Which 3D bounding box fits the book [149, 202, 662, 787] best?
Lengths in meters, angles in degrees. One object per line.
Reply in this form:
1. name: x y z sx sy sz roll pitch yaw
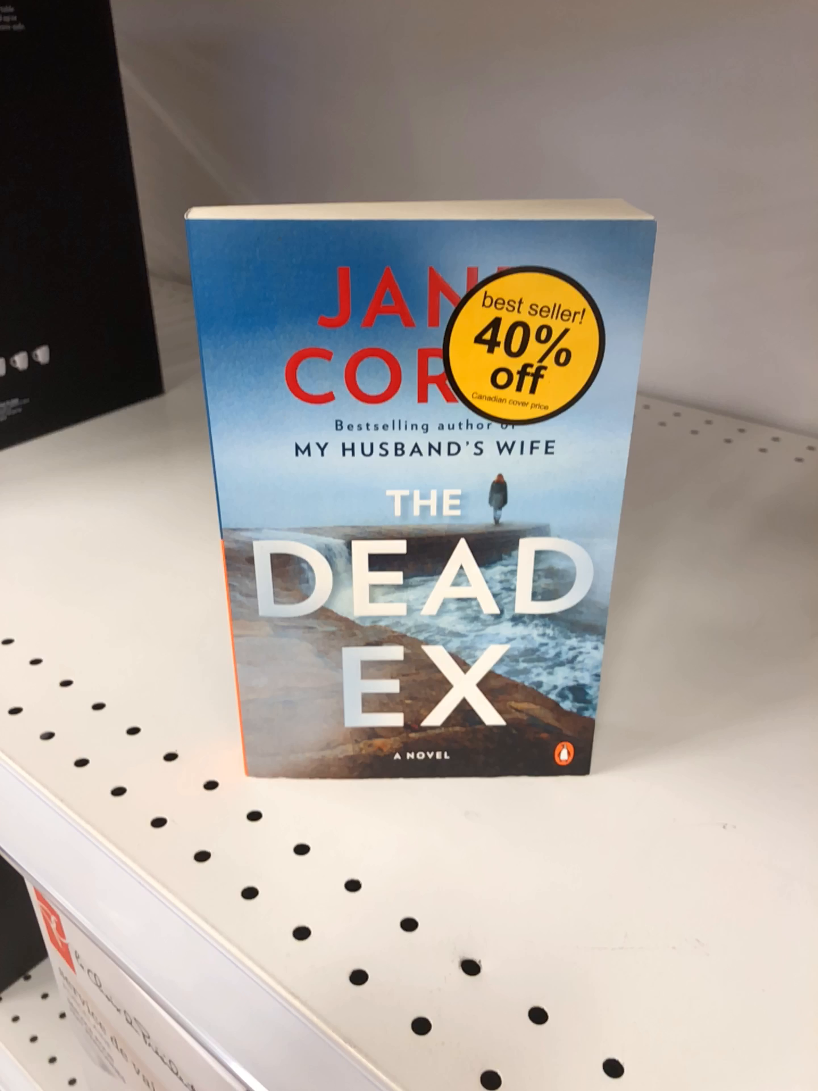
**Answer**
1. book: 0.001 -0.007 0.328 0.146 0.211 0.040 -1 28 1
